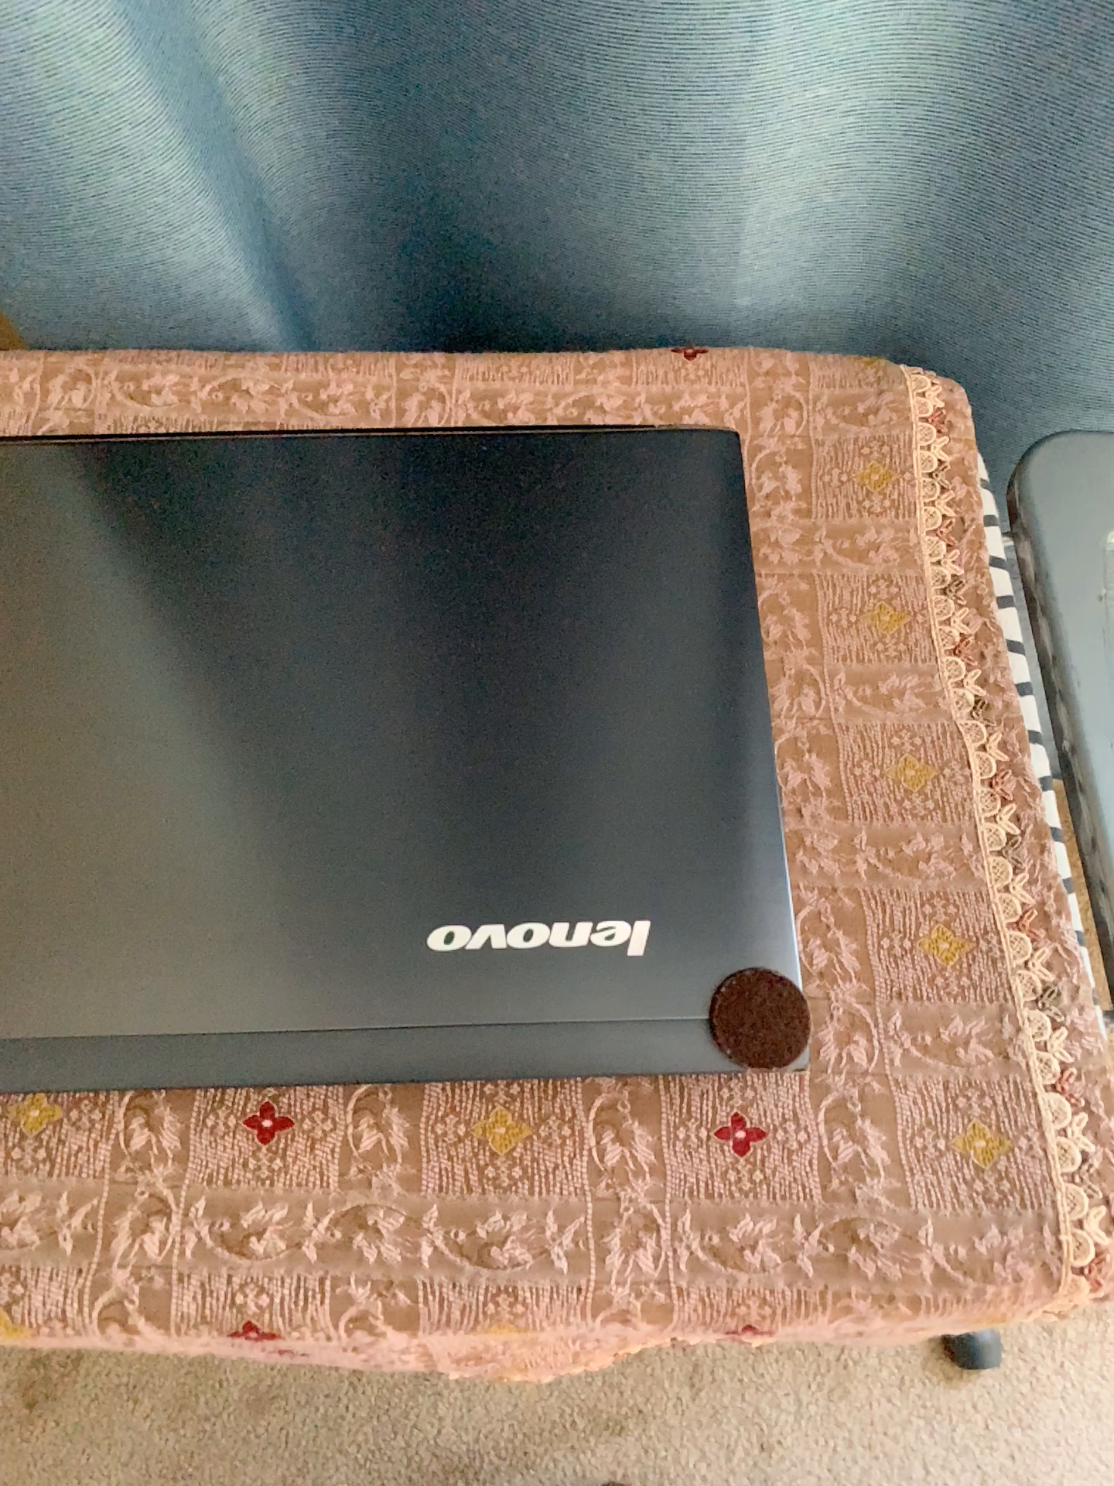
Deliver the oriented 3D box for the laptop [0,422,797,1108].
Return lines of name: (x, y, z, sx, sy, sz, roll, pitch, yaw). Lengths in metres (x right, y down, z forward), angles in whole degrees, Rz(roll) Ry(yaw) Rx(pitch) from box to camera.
laptop: (-0.110, -0.003, 0.375, 0.356, 0.011, 0.223, -2, 68, 1)
